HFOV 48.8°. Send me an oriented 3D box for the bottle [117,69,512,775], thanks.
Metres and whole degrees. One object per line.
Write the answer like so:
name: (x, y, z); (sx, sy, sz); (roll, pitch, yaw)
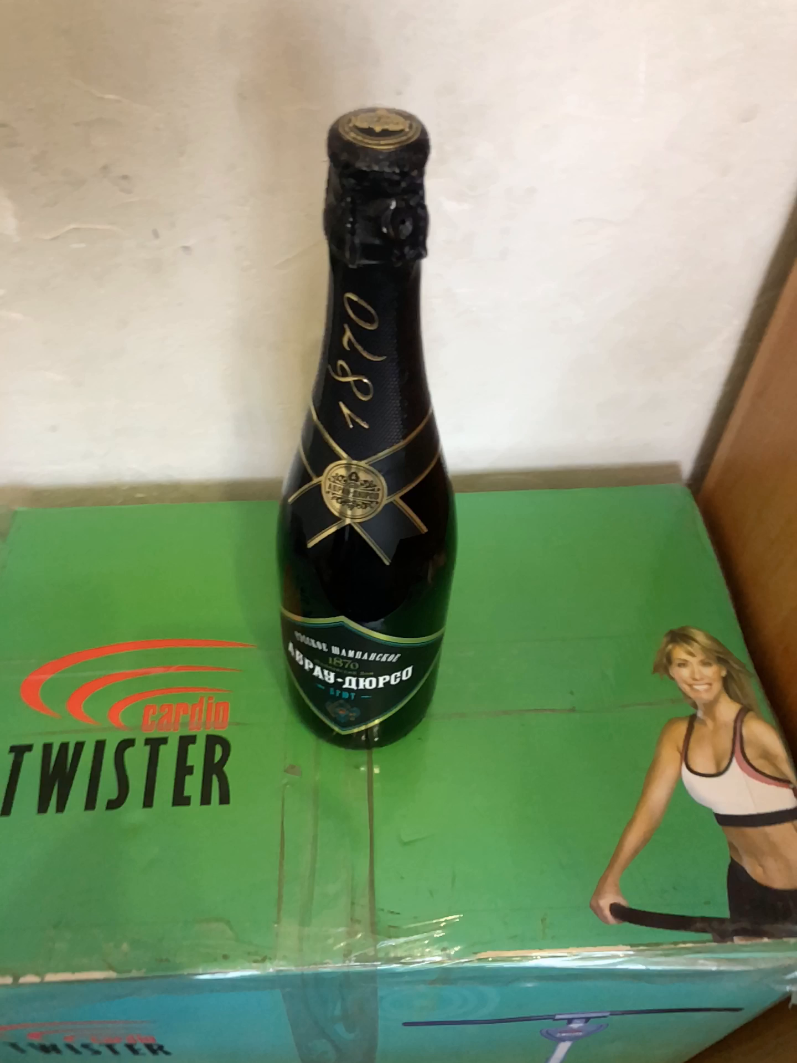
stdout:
bottle: (-0.021, -0.015, 0.373); (0.090, 0.300, 0.090); (0, 50, 0)
